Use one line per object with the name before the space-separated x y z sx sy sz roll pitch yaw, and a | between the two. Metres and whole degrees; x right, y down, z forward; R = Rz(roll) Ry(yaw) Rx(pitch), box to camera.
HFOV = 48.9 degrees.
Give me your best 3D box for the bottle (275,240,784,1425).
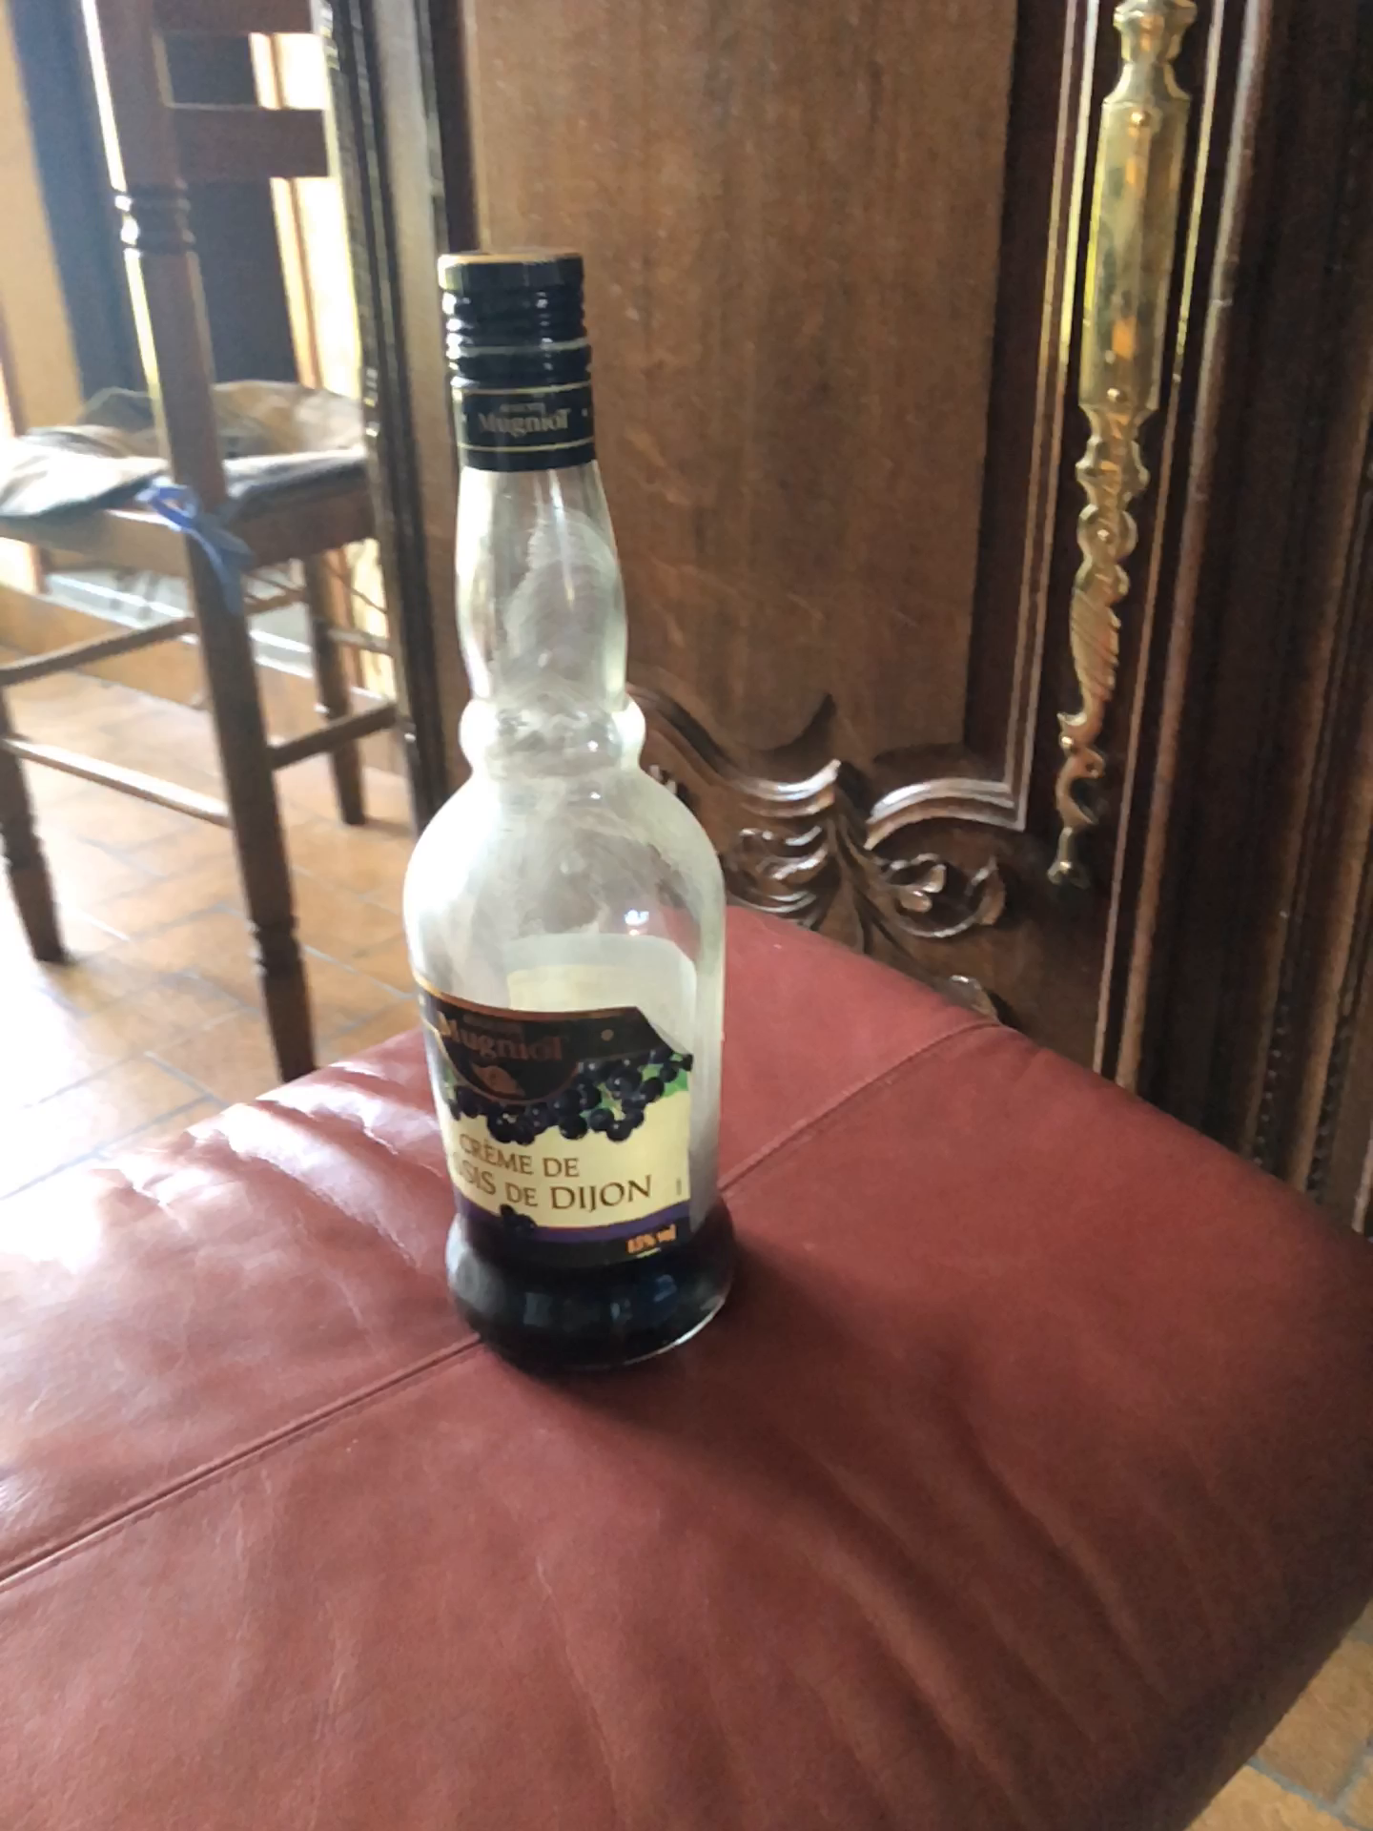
bottle | -0.026 -0.015 0.379 0.080 0.278 0.081 -2 26 1
